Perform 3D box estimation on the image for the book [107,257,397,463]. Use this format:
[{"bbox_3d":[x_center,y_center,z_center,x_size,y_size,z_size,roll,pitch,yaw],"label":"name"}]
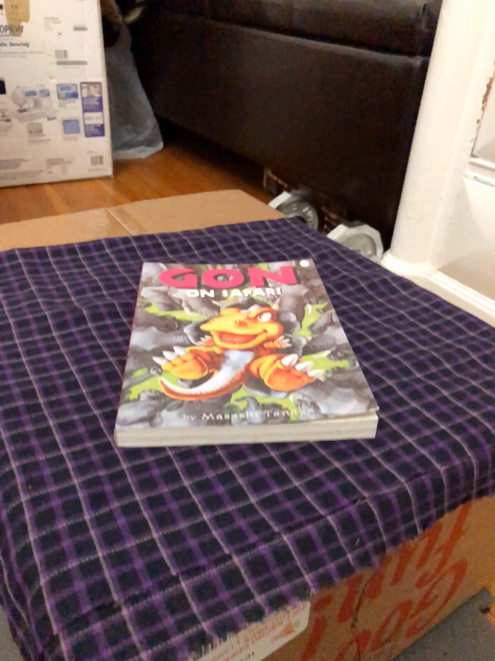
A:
[{"bbox_3d":[-0.005,0.004,0.376,0.150,0.020,0.211,0,32,-5],"label":"book"}]
